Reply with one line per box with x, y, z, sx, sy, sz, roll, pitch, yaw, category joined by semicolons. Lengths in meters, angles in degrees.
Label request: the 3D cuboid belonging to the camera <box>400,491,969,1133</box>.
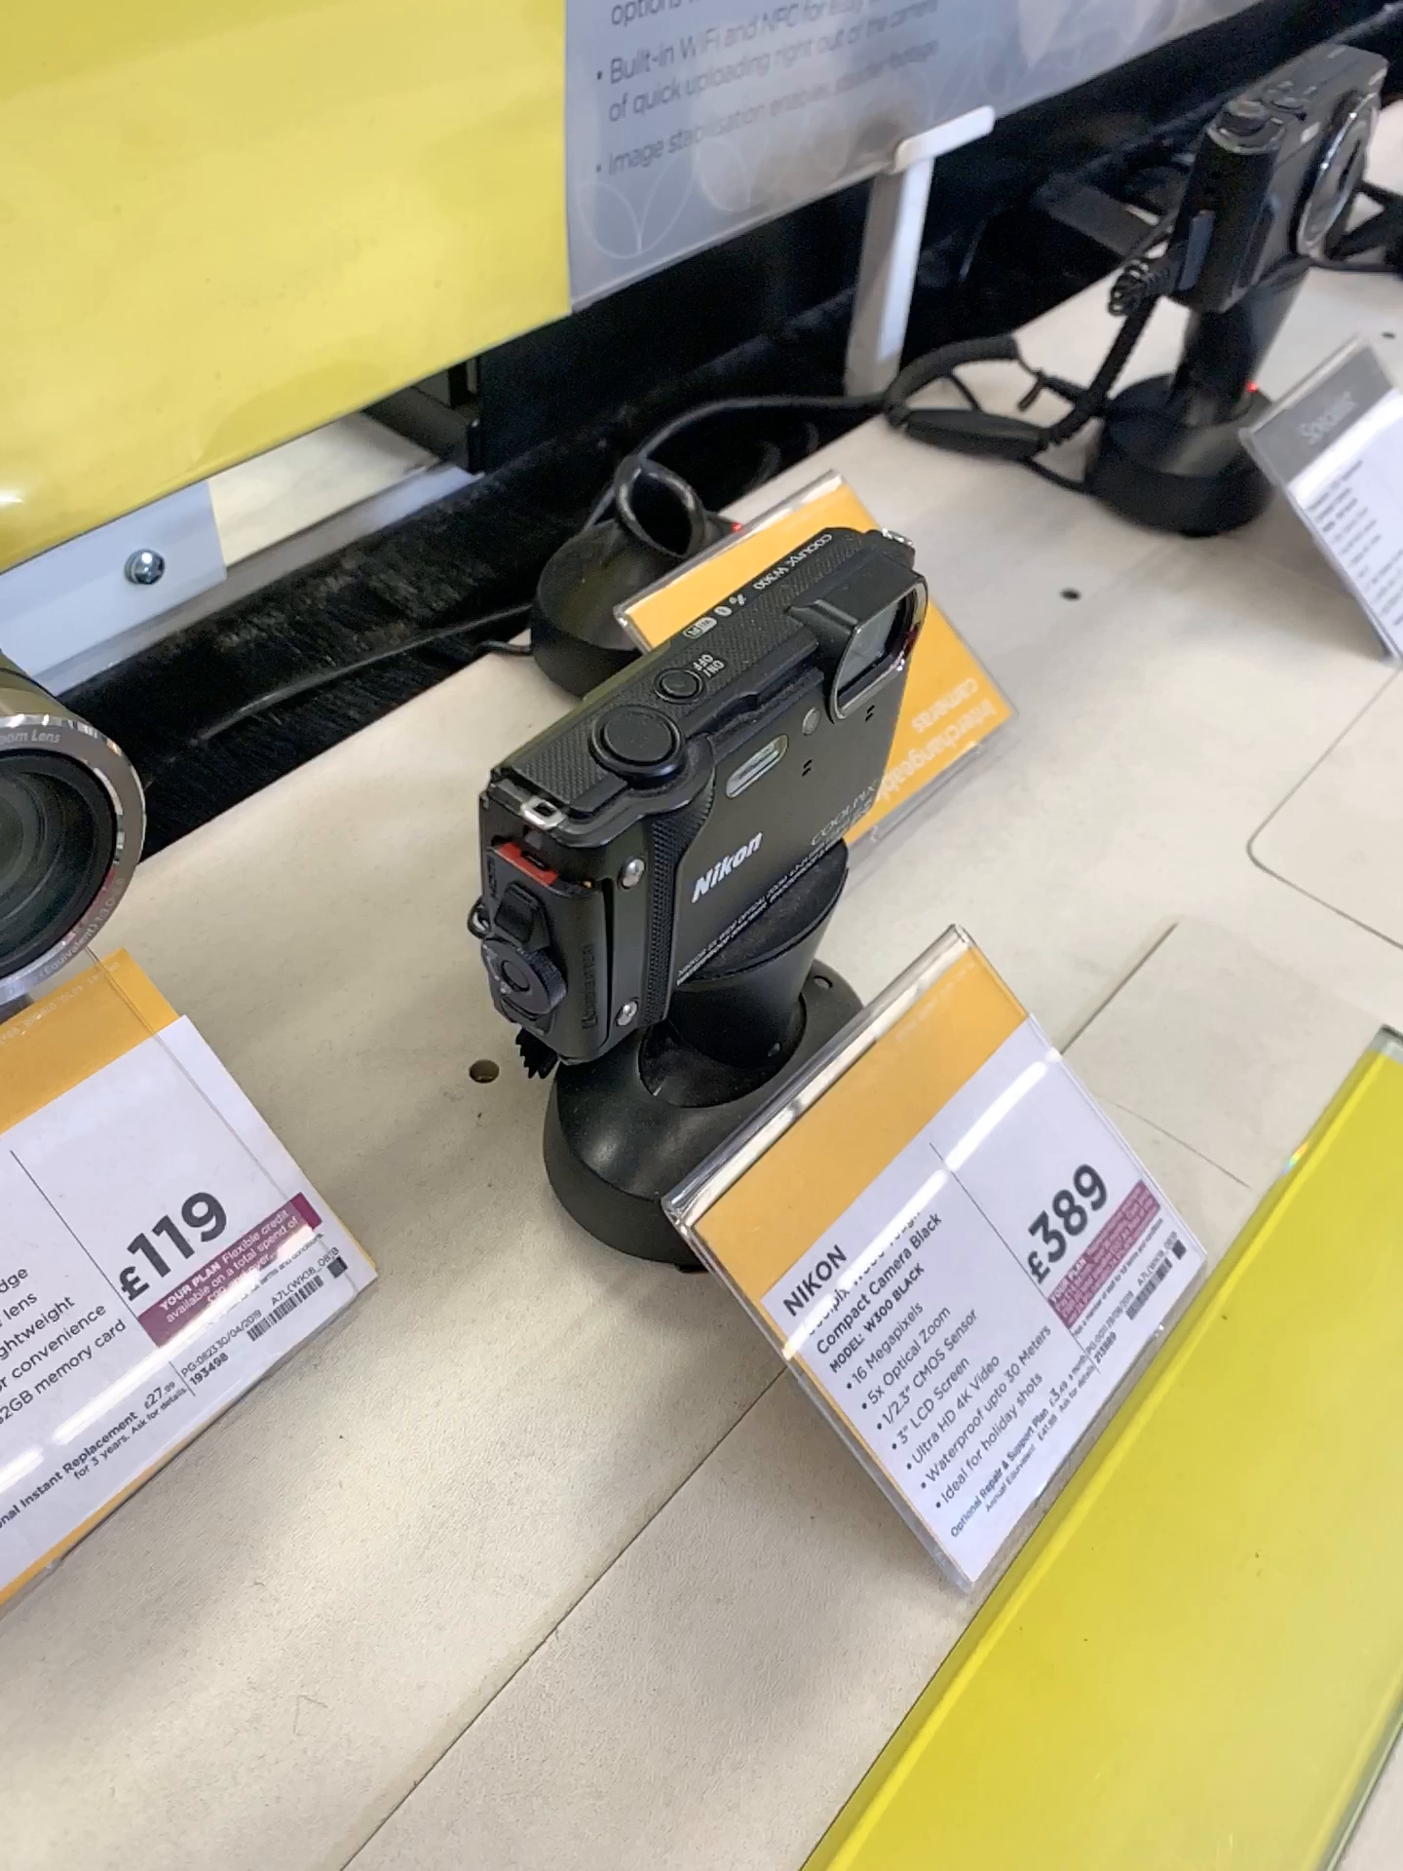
0.000;-0.027;0.283;0.030;0.069;0.121;34;54;22;camera
